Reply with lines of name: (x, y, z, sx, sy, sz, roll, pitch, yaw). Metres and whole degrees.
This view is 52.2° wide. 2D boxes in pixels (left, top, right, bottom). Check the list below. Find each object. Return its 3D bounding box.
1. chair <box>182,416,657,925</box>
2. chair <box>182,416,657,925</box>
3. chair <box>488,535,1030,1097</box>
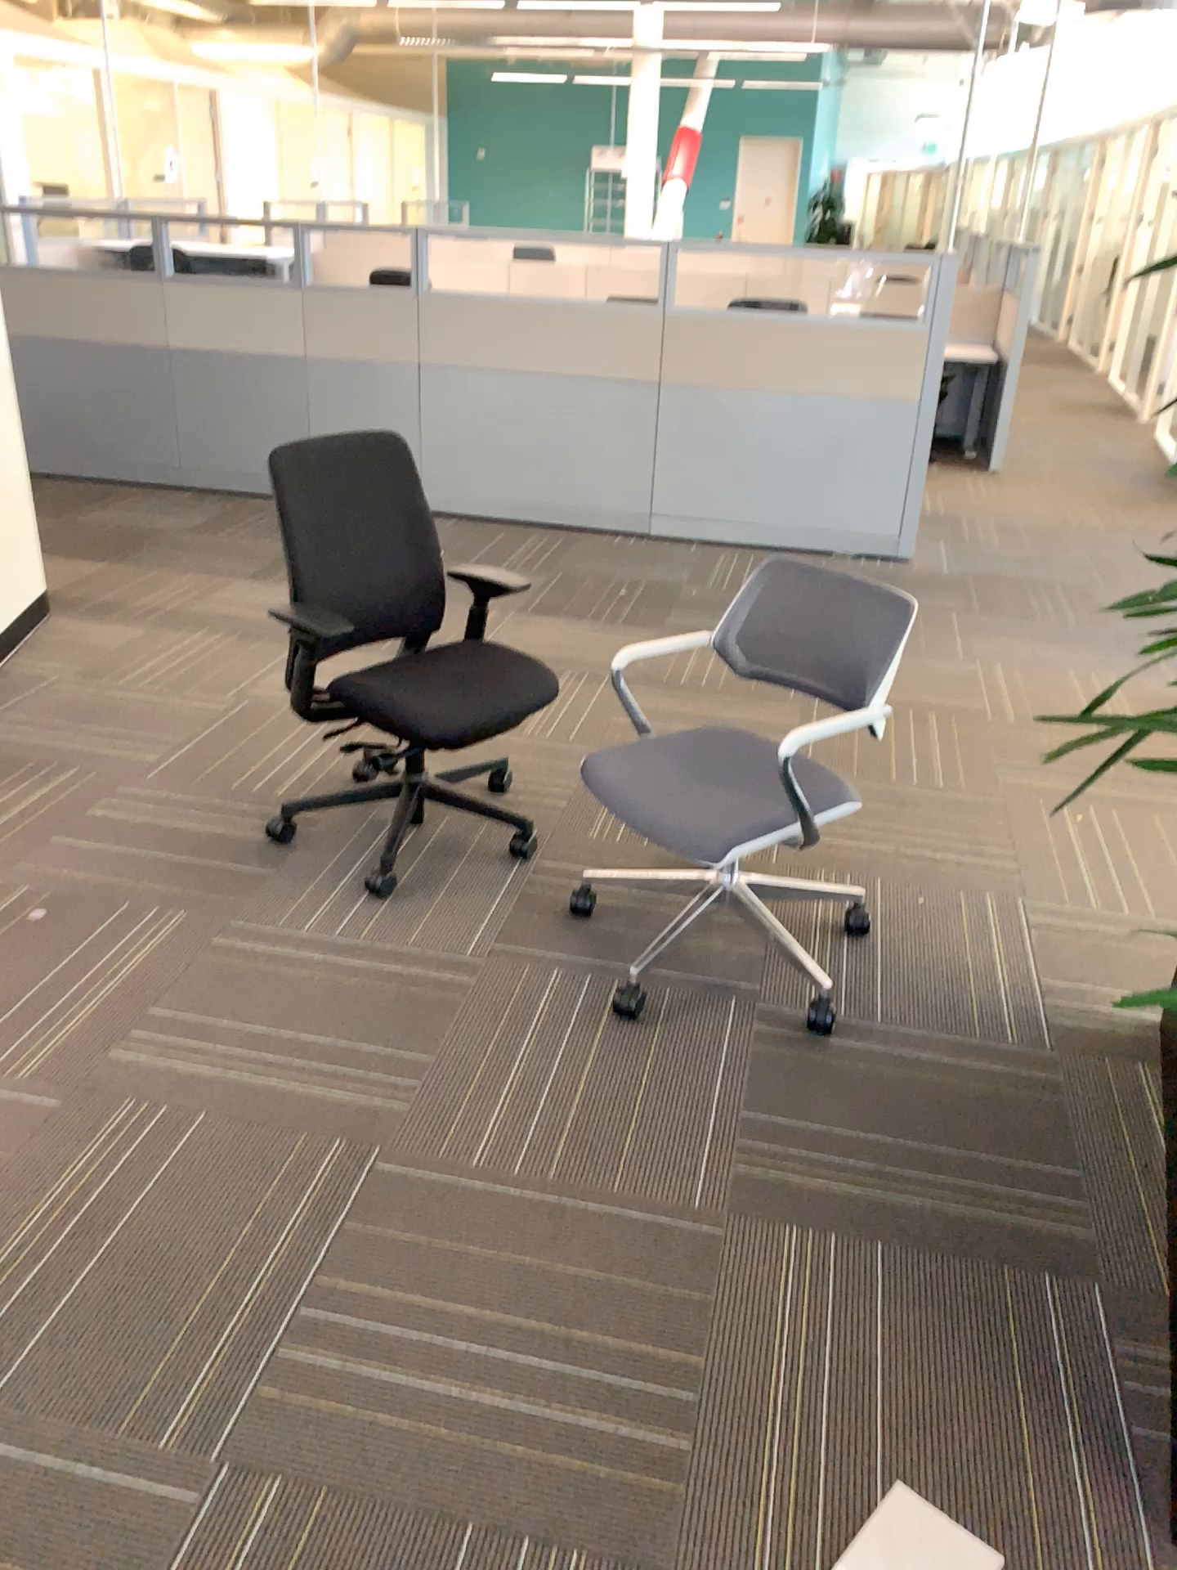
chair: (-0.384, -0.343, 2.955, 0.713, 0.915, 0.822, 20, 30, 31)
chair: (-0.384, -0.343, 2.955, 0.713, 0.915, 0.822, 20, 30, 31)
chair: (0.314, -0.007, 2.510, 0.751, 0.775, 0.734, -19, 33, -37)
